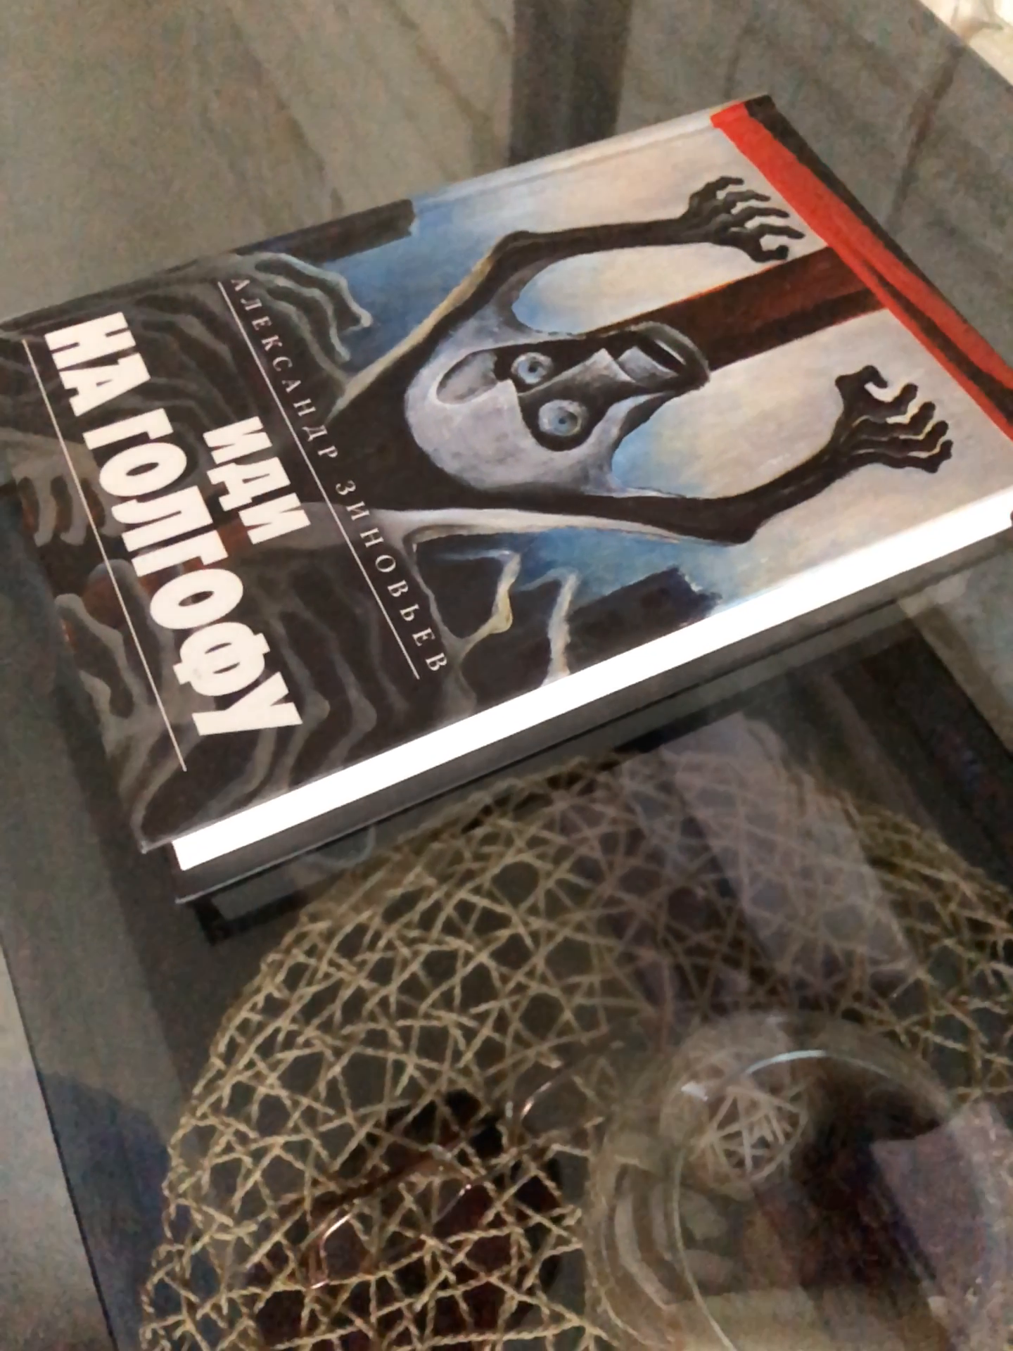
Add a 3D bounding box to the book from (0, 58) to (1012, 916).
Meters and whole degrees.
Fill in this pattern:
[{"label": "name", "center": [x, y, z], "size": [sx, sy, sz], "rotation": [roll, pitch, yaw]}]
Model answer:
[{"label": "book", "center": [-0.006, -0.056, 0.239], "size": [0.200, 0.030, 0.140], "rotation": [-20, 64, -14]}]
